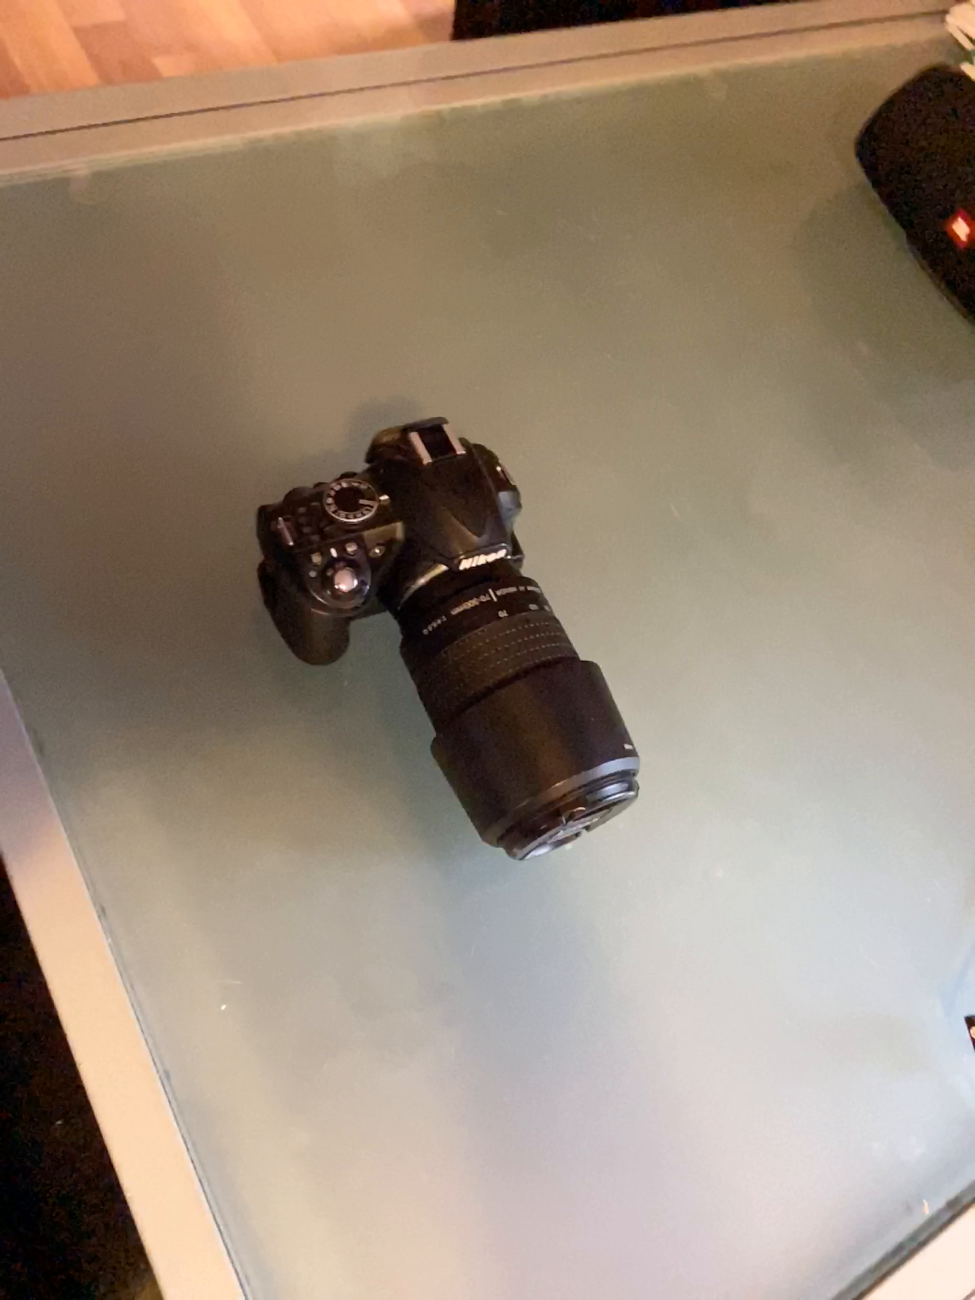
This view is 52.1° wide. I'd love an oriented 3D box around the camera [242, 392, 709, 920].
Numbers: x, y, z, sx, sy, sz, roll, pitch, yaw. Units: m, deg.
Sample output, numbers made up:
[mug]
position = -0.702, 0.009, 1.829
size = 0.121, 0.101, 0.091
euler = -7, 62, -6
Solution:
[camera]
position = -0.016, 0.000, 0.451
size = 0.124, 0.094, 0.188
euler = -20, 72, -23
